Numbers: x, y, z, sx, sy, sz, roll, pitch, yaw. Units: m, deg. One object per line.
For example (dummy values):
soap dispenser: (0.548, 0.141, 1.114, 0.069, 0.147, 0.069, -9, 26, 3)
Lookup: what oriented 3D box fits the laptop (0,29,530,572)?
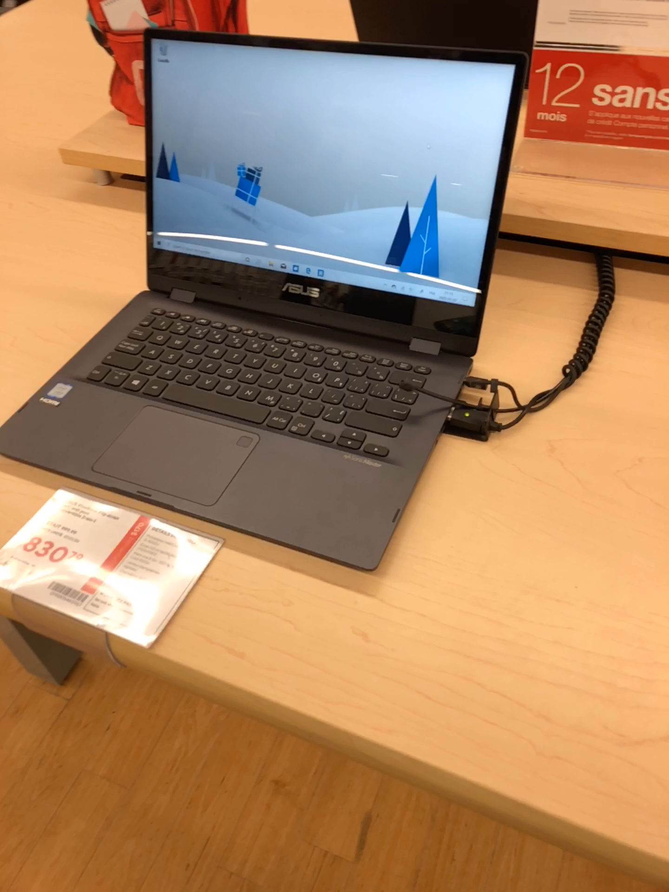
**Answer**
laptop: (-0.063, -0.135, 0.531, 0.313, 0.188, 0.314, 15, 50, 20)
